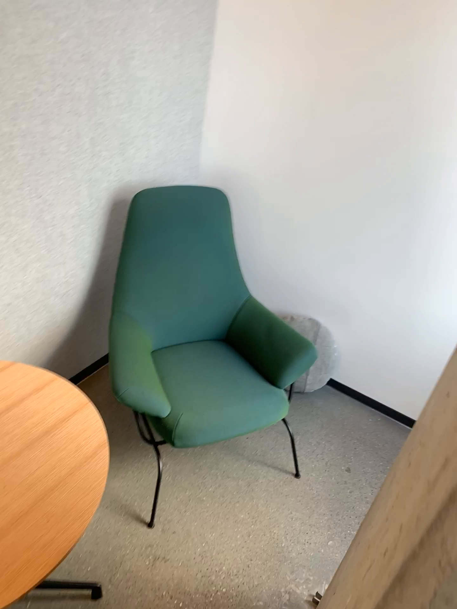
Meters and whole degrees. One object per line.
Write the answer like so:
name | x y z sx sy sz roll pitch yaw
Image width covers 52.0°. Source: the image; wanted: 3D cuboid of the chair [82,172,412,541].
chair | -0.076 0.104 1.911 0.820 0.954 1.006 -7 38 -25
